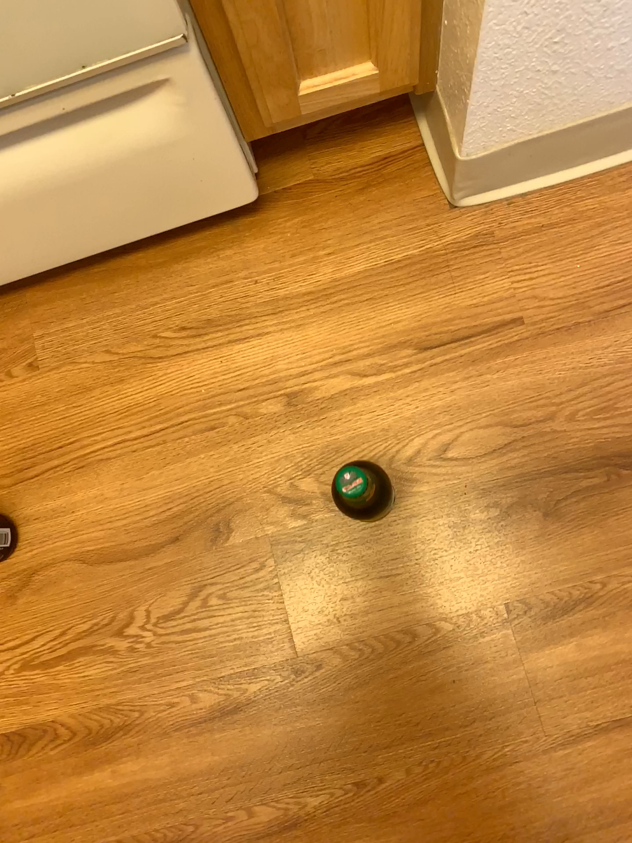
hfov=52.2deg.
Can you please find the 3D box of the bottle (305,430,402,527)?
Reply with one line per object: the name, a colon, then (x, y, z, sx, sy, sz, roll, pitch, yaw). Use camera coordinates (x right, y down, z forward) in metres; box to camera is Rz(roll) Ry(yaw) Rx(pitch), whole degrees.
bottle: (0.045, 0.065, 0.641, 0.050, 0.230, 0.060, -42, 77, -1)
